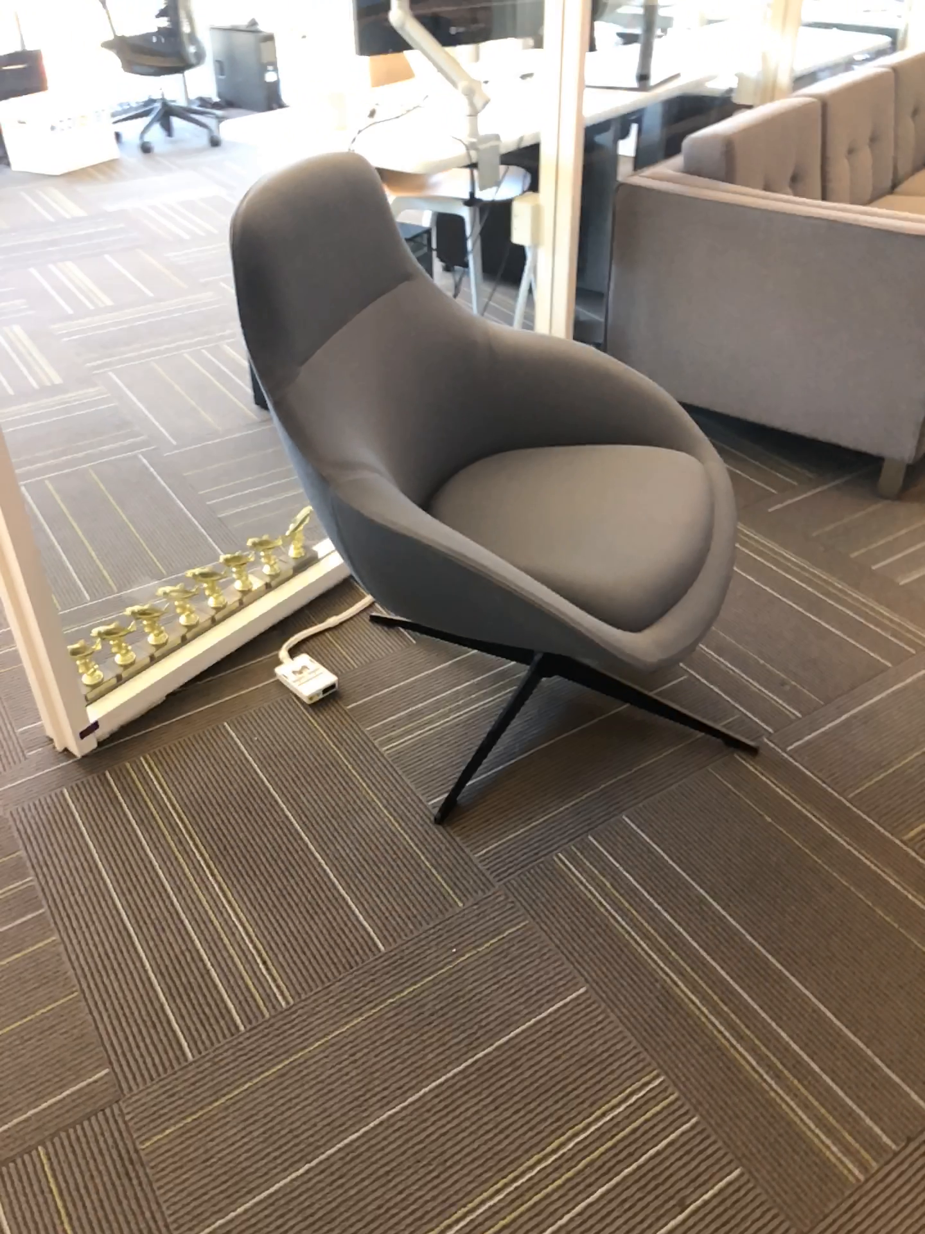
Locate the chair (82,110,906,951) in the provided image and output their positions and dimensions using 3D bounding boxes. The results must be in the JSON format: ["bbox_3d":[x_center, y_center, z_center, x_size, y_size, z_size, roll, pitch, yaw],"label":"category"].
[{"bbox_3d":[0.137,-0.236,1.806,0.961,0.995,0.934,12,38,18],"label":"chair"}]
